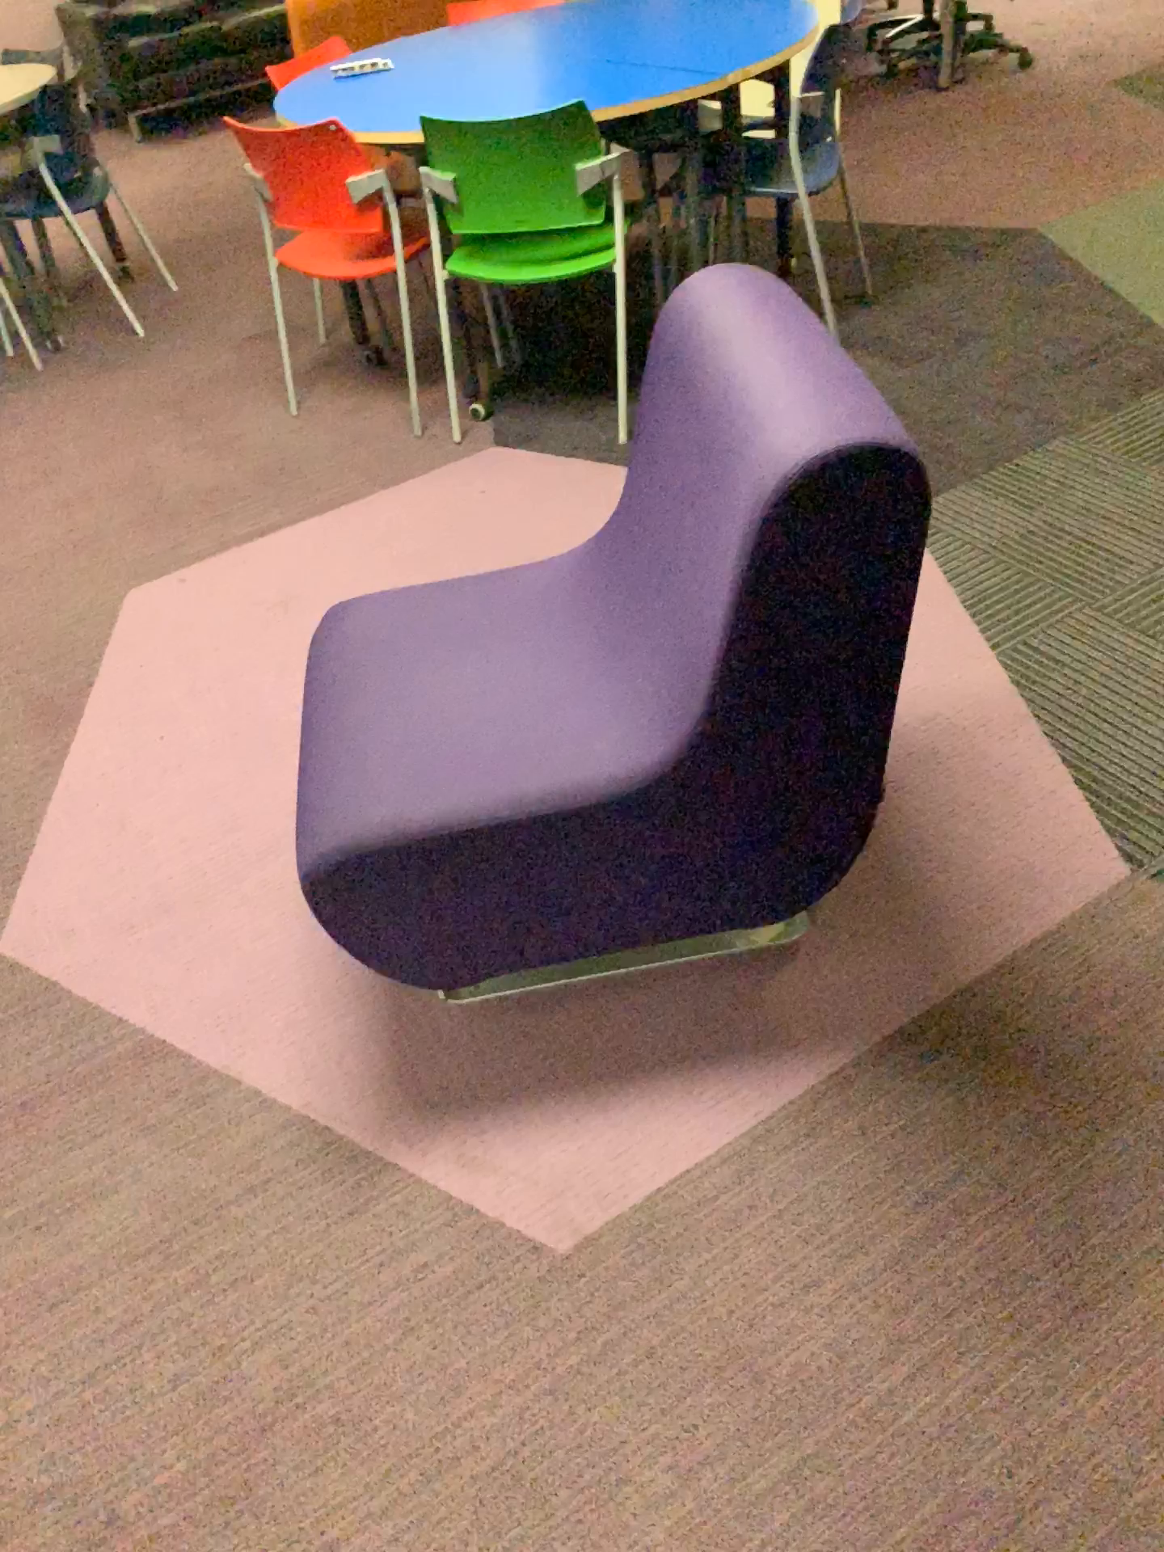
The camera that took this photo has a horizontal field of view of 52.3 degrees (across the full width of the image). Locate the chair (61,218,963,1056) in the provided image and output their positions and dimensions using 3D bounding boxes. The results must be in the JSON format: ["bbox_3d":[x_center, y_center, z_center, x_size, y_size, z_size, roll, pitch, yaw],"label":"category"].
[{"bbox_3d":[-0.073,-0.225,1.564,0.820,0.614,0.808,-11,40,-1],"label":"chair"}]
